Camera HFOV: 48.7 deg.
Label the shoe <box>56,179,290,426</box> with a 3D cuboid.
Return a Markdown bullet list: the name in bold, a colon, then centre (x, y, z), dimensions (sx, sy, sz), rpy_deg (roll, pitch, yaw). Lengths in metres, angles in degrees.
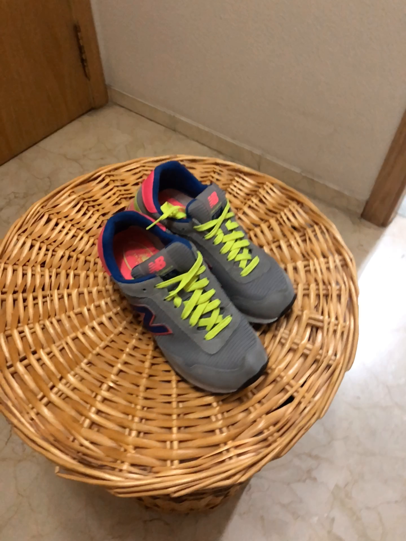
- **shoe**: centre (-0.040, 0.027, 0.508), dimensions (0.100, 0.110, 0.260), rpy_deg (-36, 61, -22)

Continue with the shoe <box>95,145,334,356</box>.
- **shoe**: centre (0.004, -0.034, 0.569), dimensions (0.280, 0.110, 0.100), rpy_deg (34, 57, 23)
